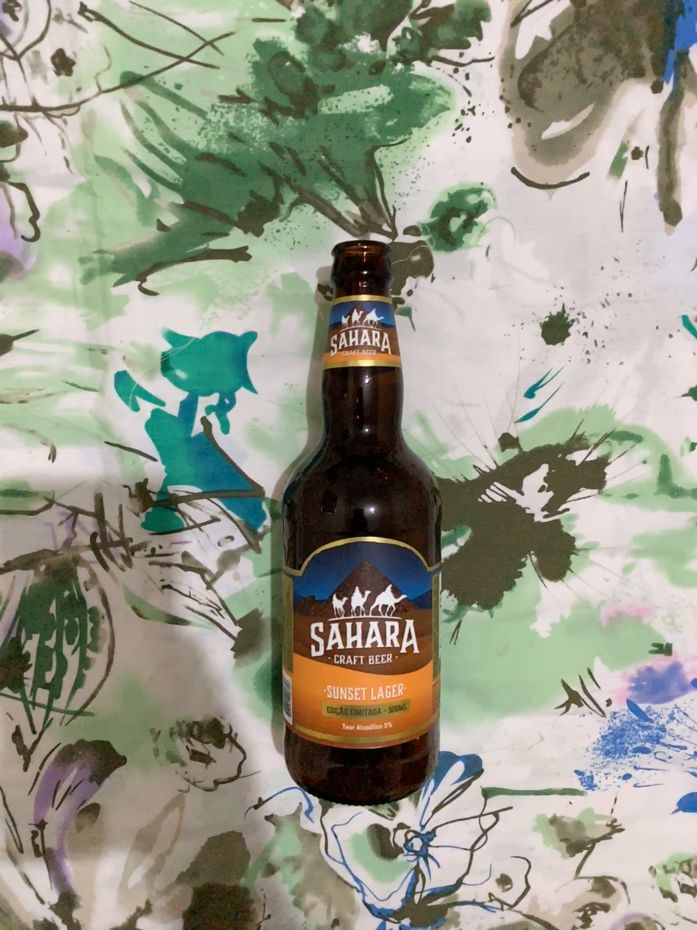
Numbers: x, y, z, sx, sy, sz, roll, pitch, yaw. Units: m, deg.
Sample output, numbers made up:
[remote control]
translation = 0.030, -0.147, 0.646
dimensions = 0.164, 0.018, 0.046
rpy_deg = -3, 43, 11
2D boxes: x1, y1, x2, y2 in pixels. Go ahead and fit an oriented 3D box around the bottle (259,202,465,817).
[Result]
[bottle]
translation = 0.003, 0.020, 0.326
dimensions = 0.080, 0.070, 0.250
rpy_deg = -1, 97, -5
